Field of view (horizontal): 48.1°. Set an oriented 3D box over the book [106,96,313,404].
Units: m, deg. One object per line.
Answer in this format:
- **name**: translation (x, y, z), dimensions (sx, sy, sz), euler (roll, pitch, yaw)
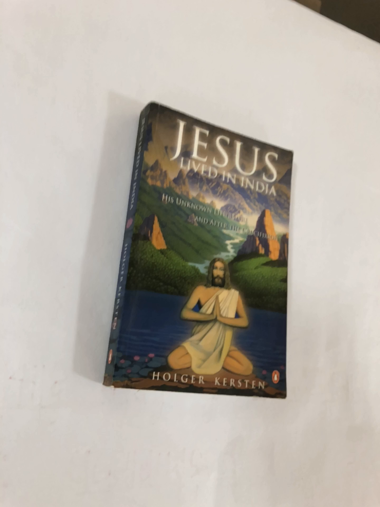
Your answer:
- **book**: translation (0.026, 0.001, 0.333), dimensions (0.150, 0.030, 0.210), euler (13, 73, -24)
